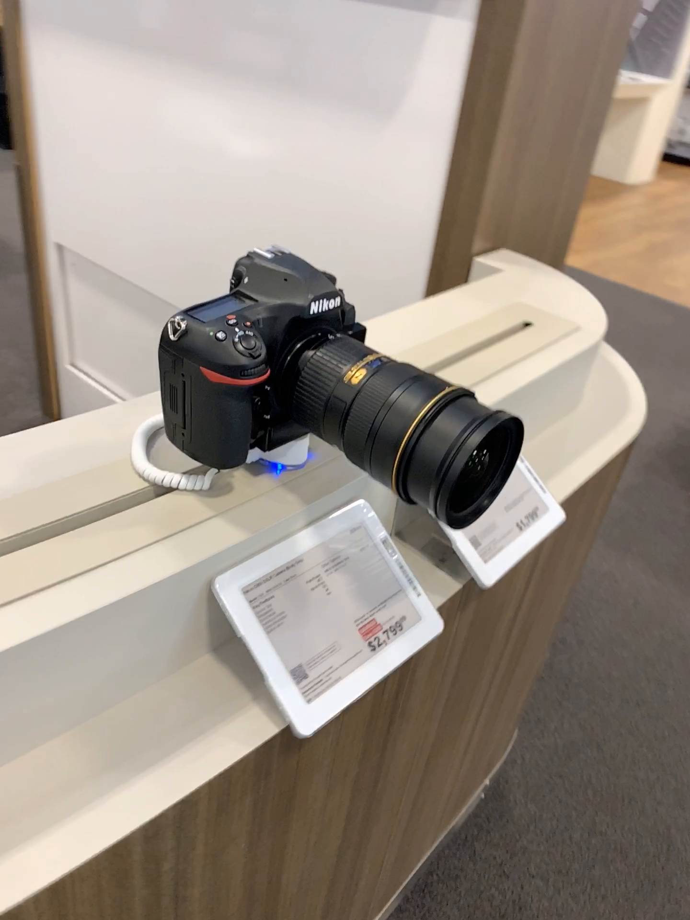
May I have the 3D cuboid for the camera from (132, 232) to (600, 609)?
[{"bbox_3d":[0.003,-0.048,0.462,0.241,0.109,0.161,31,40,30],"label":"camera"}]
